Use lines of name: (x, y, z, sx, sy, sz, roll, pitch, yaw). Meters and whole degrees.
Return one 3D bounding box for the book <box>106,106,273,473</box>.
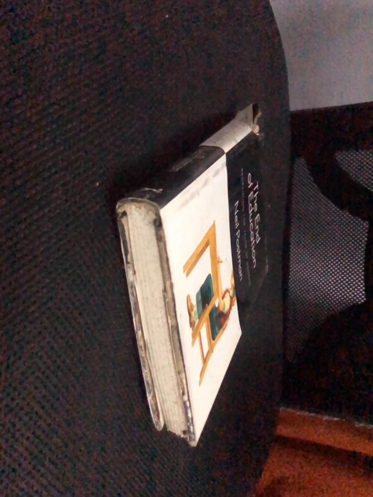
book: (0.030, 0.001, 0.324, 0.251, 0.030, 0.180, -51, 140, -57)
